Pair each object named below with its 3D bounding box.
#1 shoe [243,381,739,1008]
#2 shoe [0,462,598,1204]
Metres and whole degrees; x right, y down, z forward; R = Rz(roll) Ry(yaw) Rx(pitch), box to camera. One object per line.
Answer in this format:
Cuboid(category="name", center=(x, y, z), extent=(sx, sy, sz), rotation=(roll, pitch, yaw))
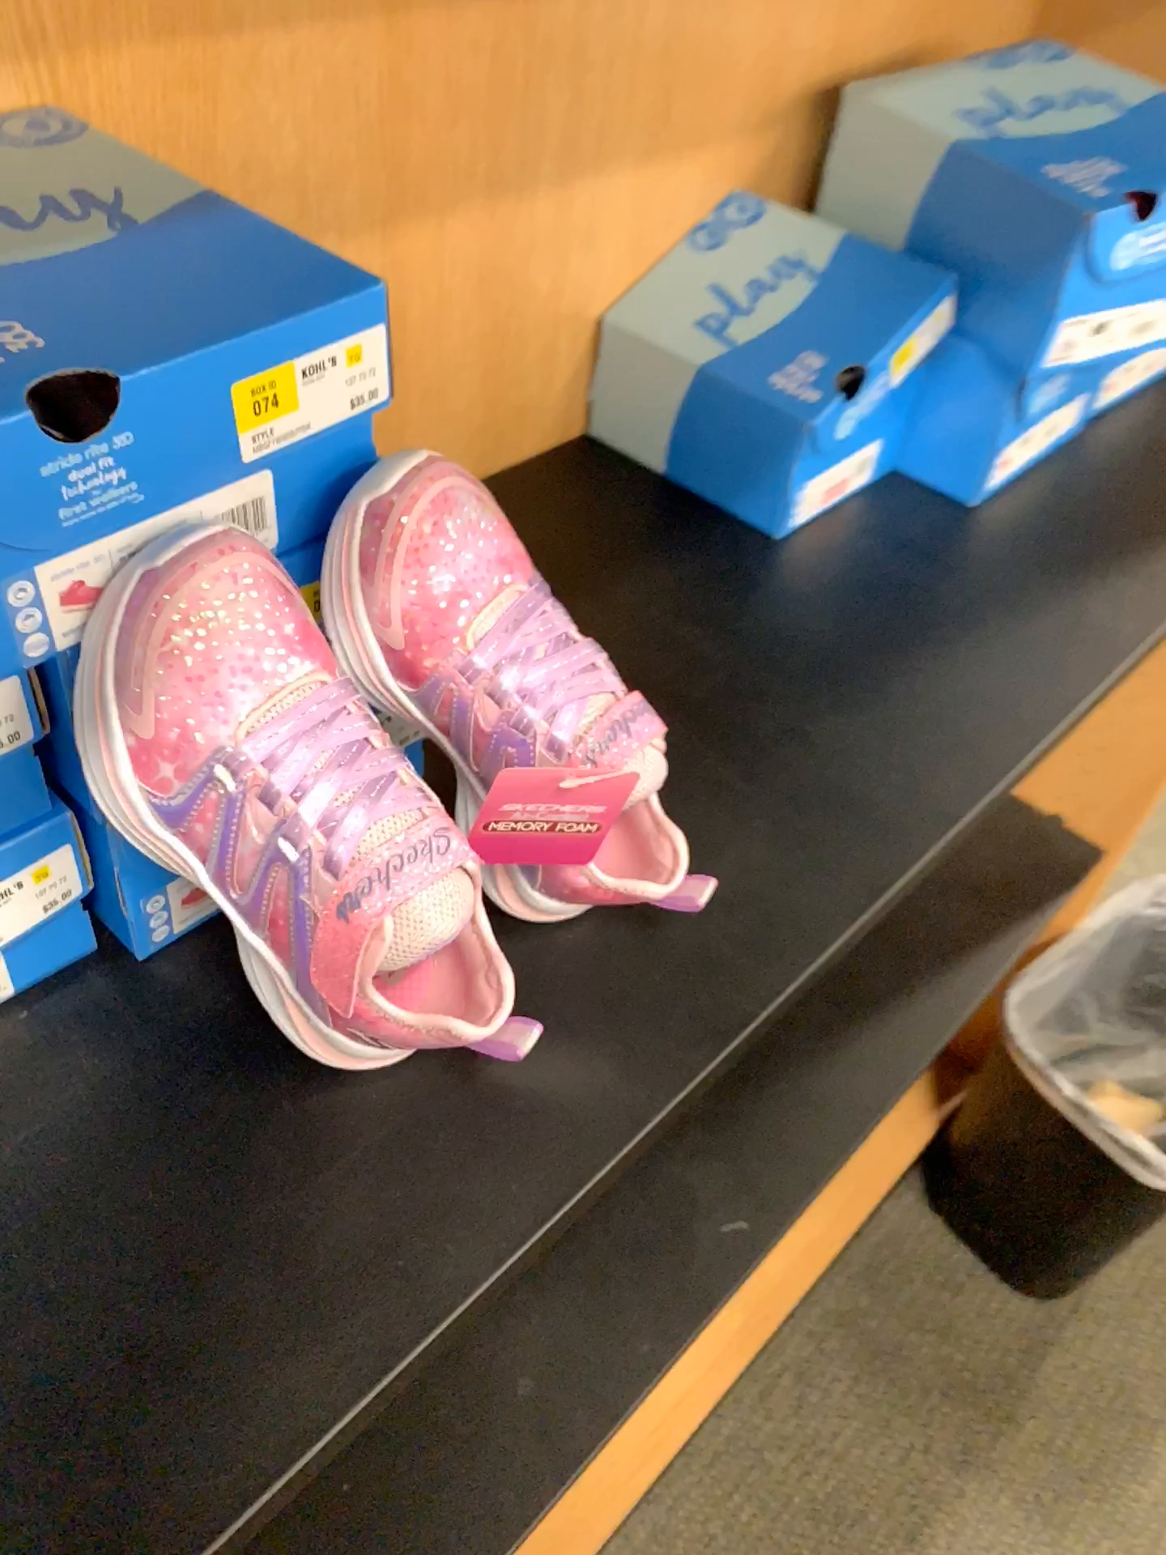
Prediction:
Cuboid(category="shoe", center=(-0.021, -0.027, 0.433), extent=(0.080, 0.199, 0.090), rotation=(16, 50, 39))
Cuboid(category="shoe", center=(-0.081, 0.021, 0.380), extent=(0.080, 0.209, 0.090), rotation=(20, 50, 42))
